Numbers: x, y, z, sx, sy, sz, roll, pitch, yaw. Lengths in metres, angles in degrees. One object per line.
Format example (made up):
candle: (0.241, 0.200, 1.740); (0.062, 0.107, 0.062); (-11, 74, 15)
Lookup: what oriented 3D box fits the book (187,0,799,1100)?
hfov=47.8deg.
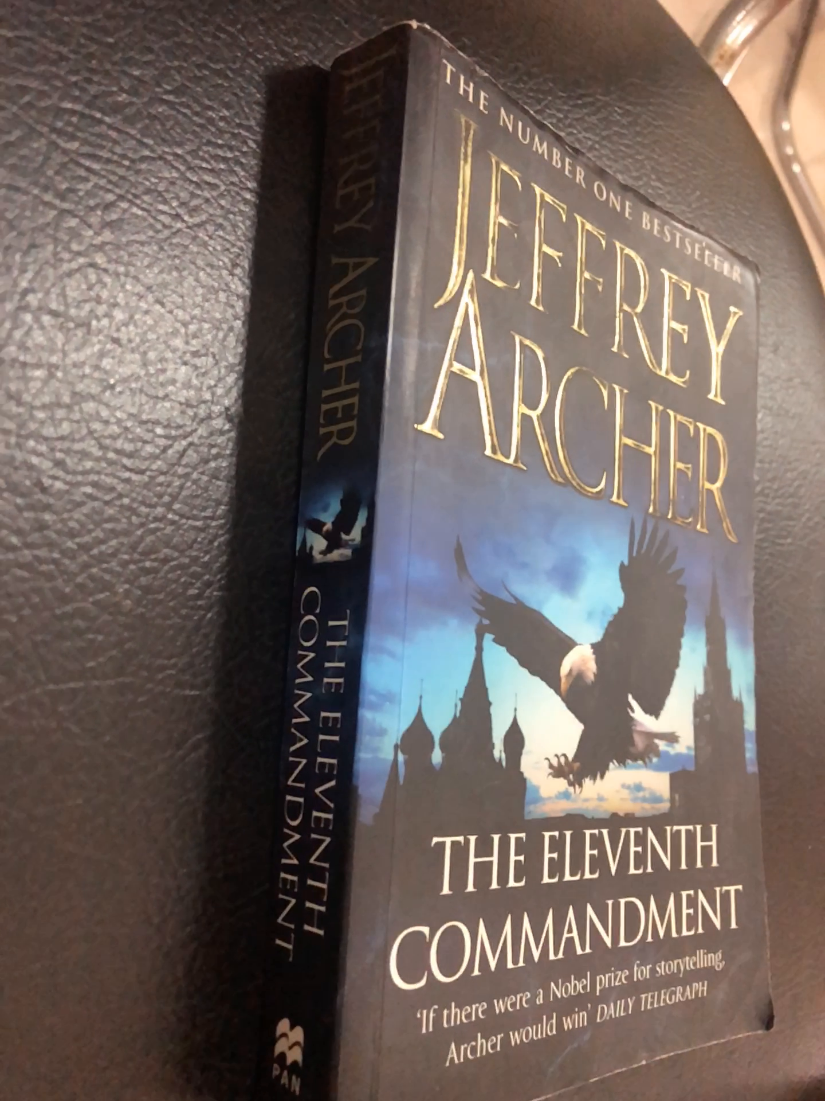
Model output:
book: (0.033, -0.002, 0.194); (0.131, 0.040, 0.200); (15, 76, -44)
